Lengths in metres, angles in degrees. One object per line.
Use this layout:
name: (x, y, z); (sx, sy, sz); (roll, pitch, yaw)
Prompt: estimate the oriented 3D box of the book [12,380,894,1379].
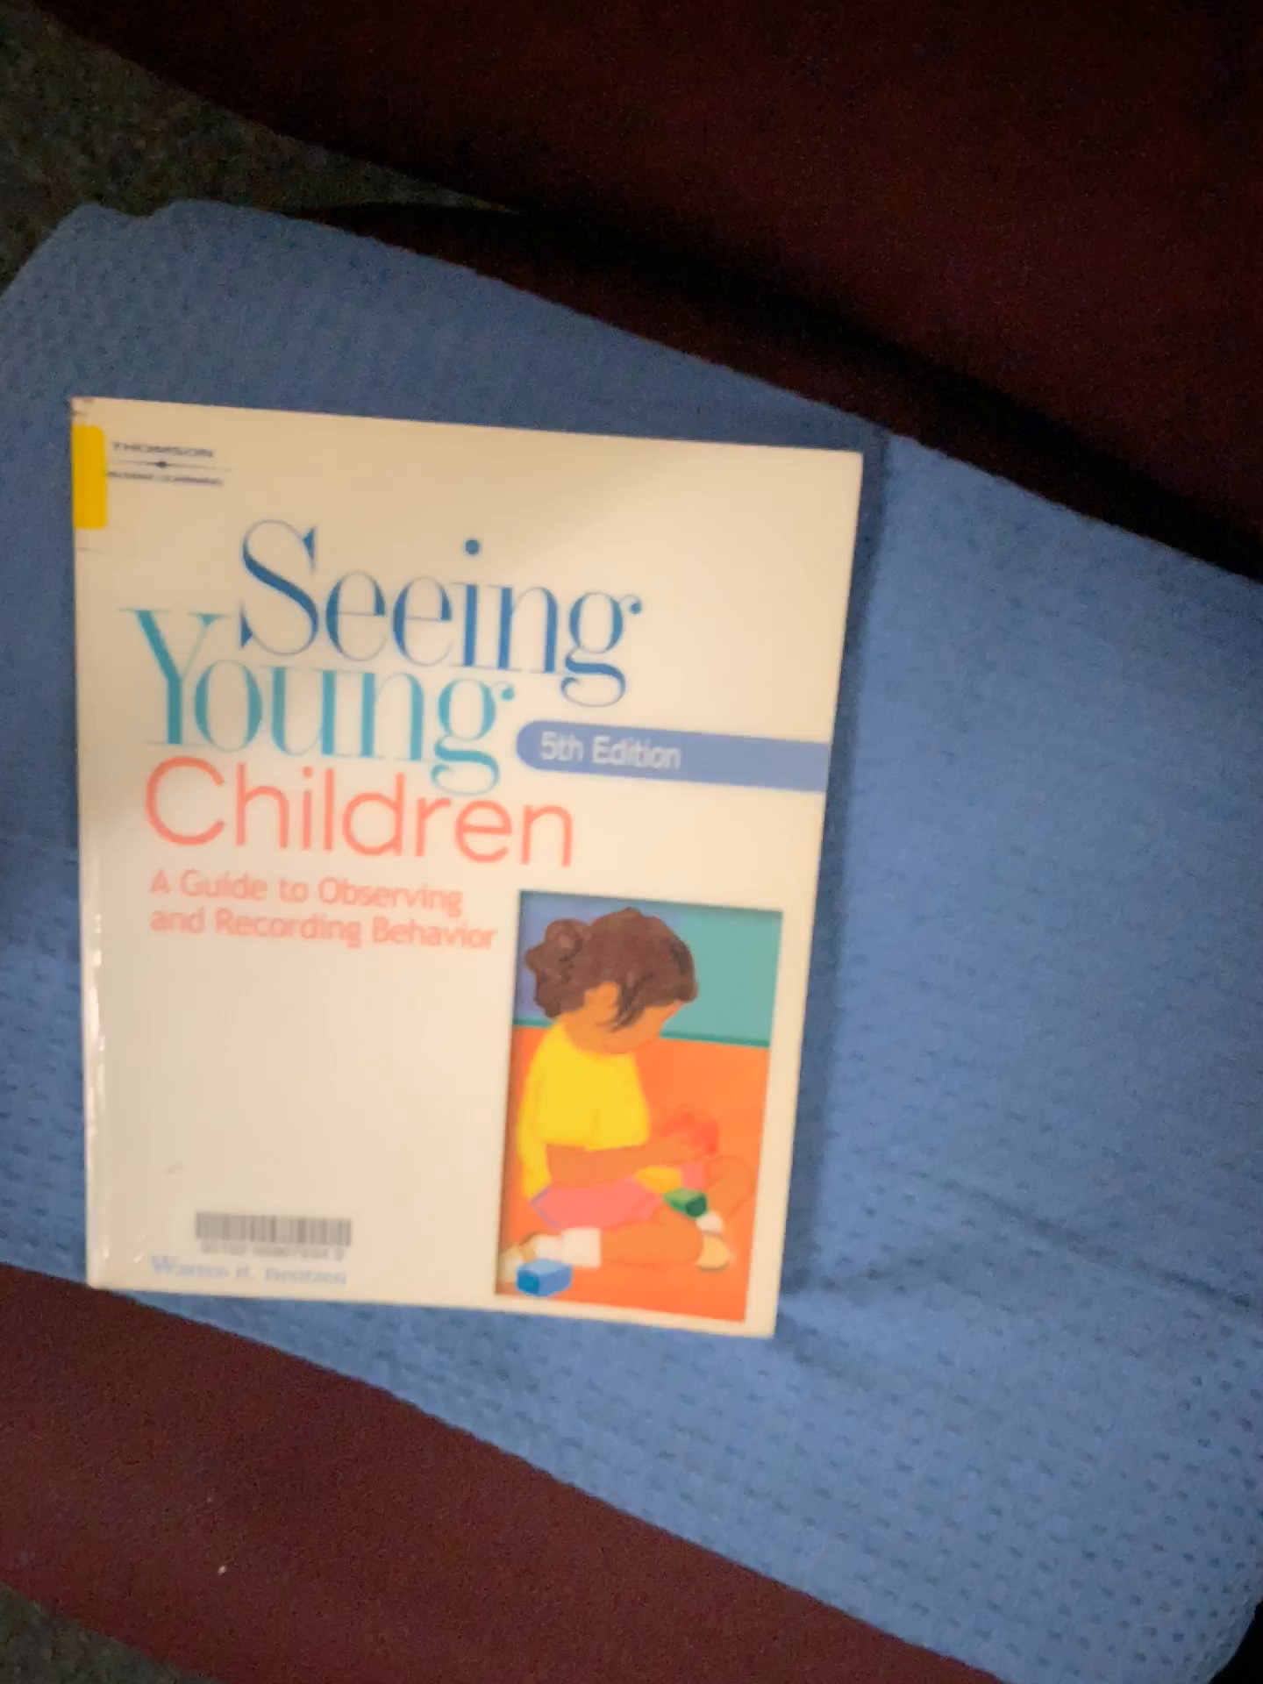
book: (-0.048, 0.019, 0.344); (0.200, 0.030, 0.250); (3, 105, -2)
